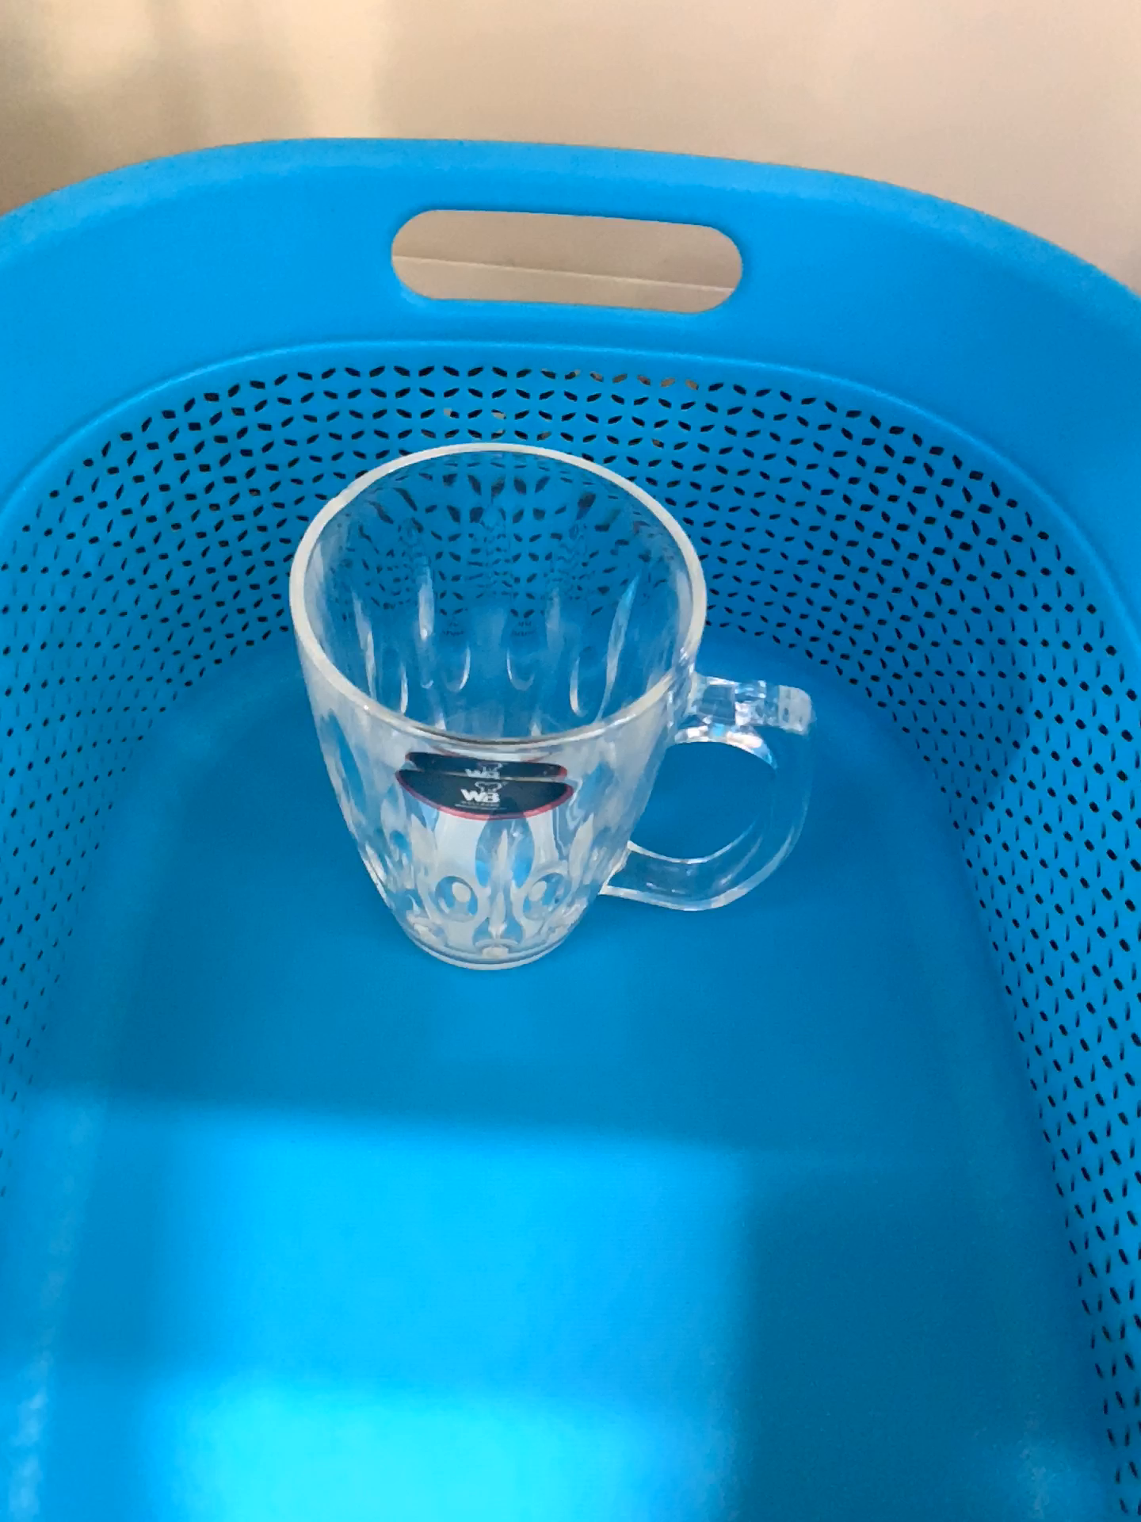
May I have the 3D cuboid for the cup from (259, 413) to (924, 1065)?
[{"bbox_3d":[0.004,0.001,0.261,0.110,0.109,0.081,8,54,1],"label":"cup"}]
